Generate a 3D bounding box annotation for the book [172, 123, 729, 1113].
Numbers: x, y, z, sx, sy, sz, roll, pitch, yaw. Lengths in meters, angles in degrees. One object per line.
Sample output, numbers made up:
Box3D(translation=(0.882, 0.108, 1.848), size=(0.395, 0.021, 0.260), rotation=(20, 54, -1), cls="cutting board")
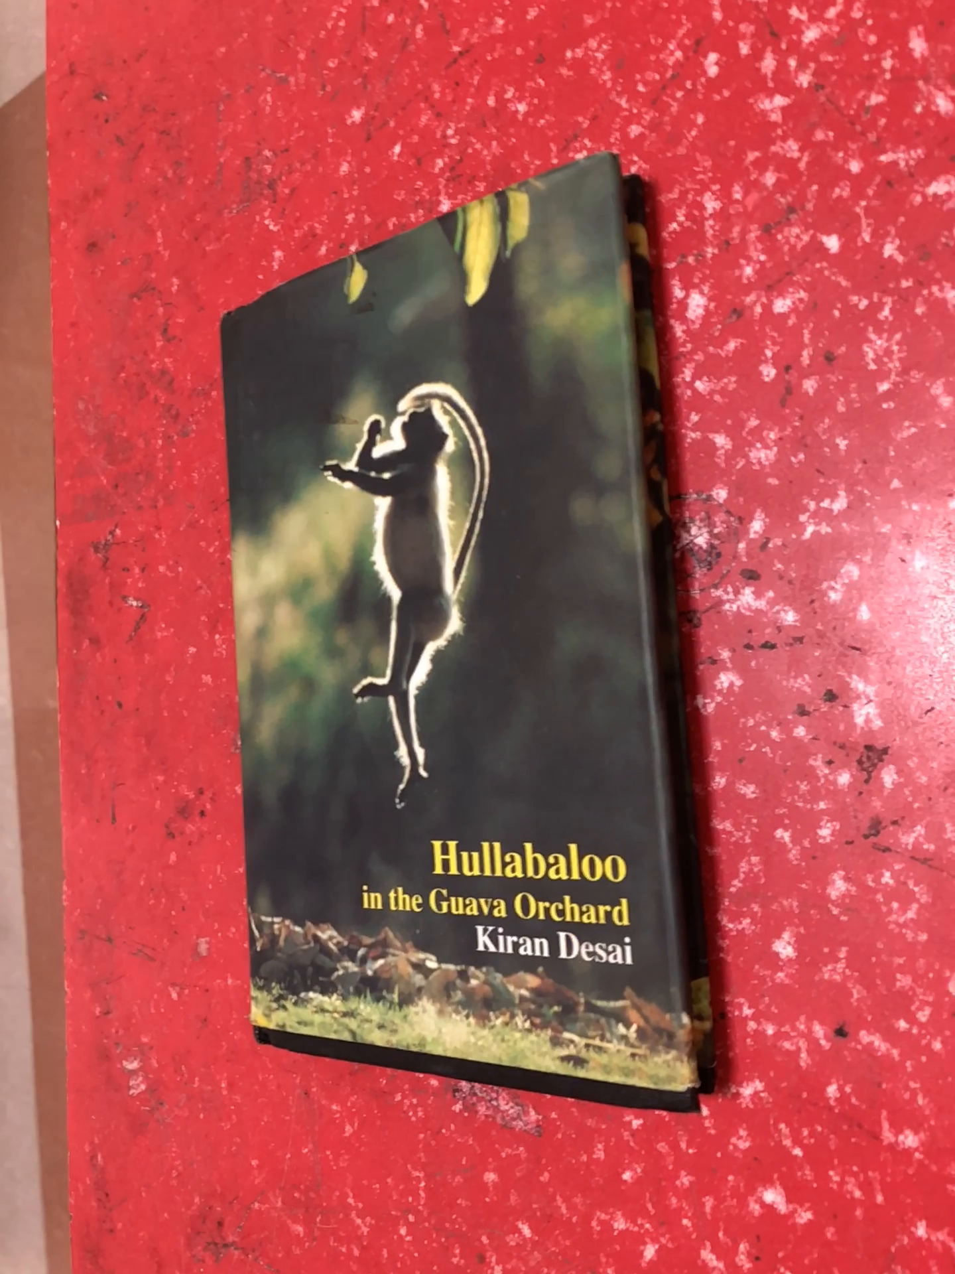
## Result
Box3D(translation=(-0.020, 0.000, 0.305), size=(0.161, 0.030, 0.230), rotation=(-8, 83, 36), cls="book")
